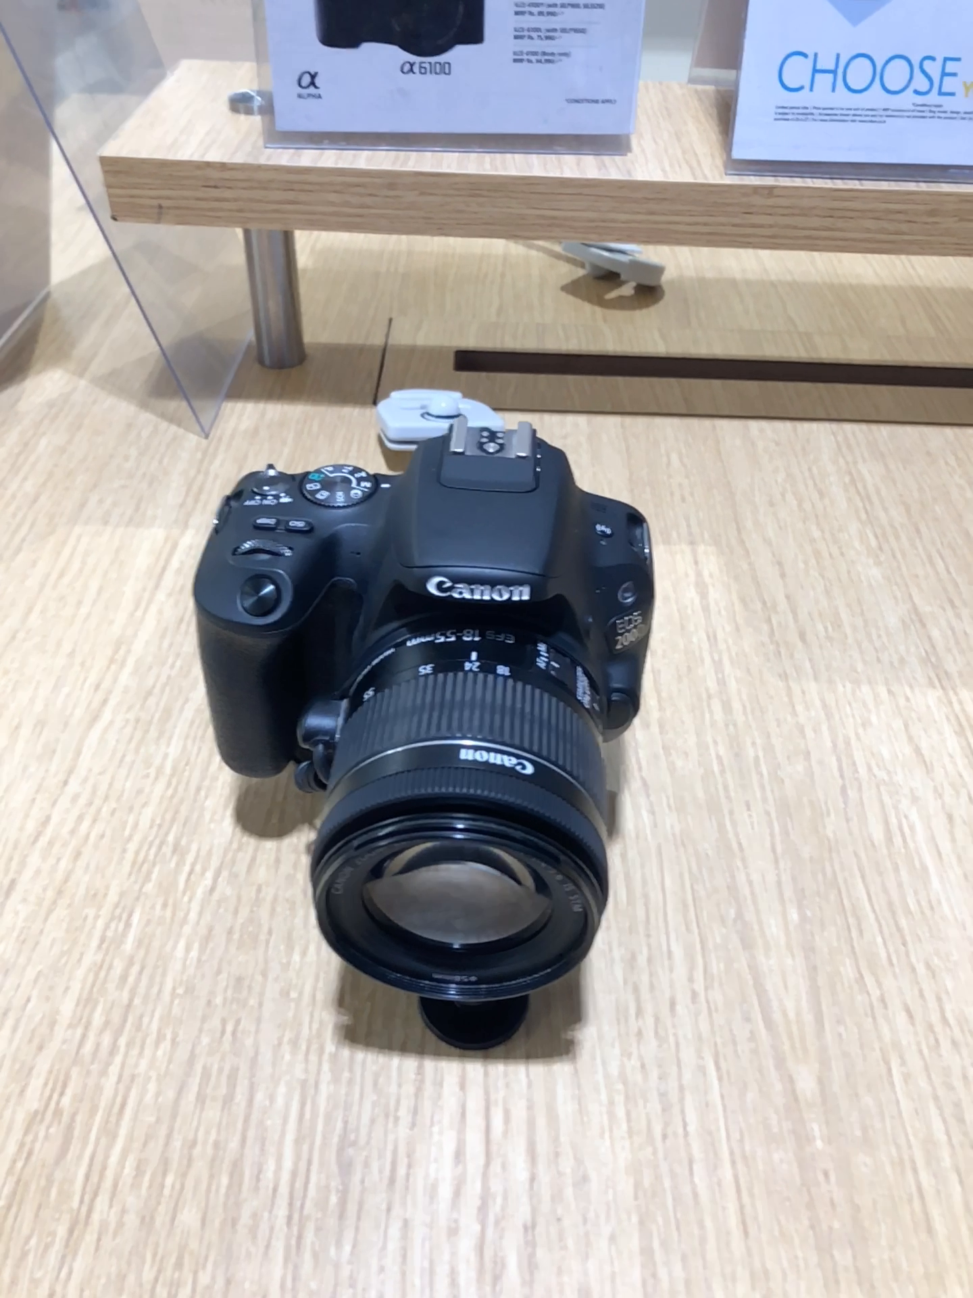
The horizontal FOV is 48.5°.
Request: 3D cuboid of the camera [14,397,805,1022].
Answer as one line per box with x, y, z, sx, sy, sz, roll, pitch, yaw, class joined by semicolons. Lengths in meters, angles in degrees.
-0.012;0.008;0.247;0.130;0.079;0.116;2;41;1;camera
